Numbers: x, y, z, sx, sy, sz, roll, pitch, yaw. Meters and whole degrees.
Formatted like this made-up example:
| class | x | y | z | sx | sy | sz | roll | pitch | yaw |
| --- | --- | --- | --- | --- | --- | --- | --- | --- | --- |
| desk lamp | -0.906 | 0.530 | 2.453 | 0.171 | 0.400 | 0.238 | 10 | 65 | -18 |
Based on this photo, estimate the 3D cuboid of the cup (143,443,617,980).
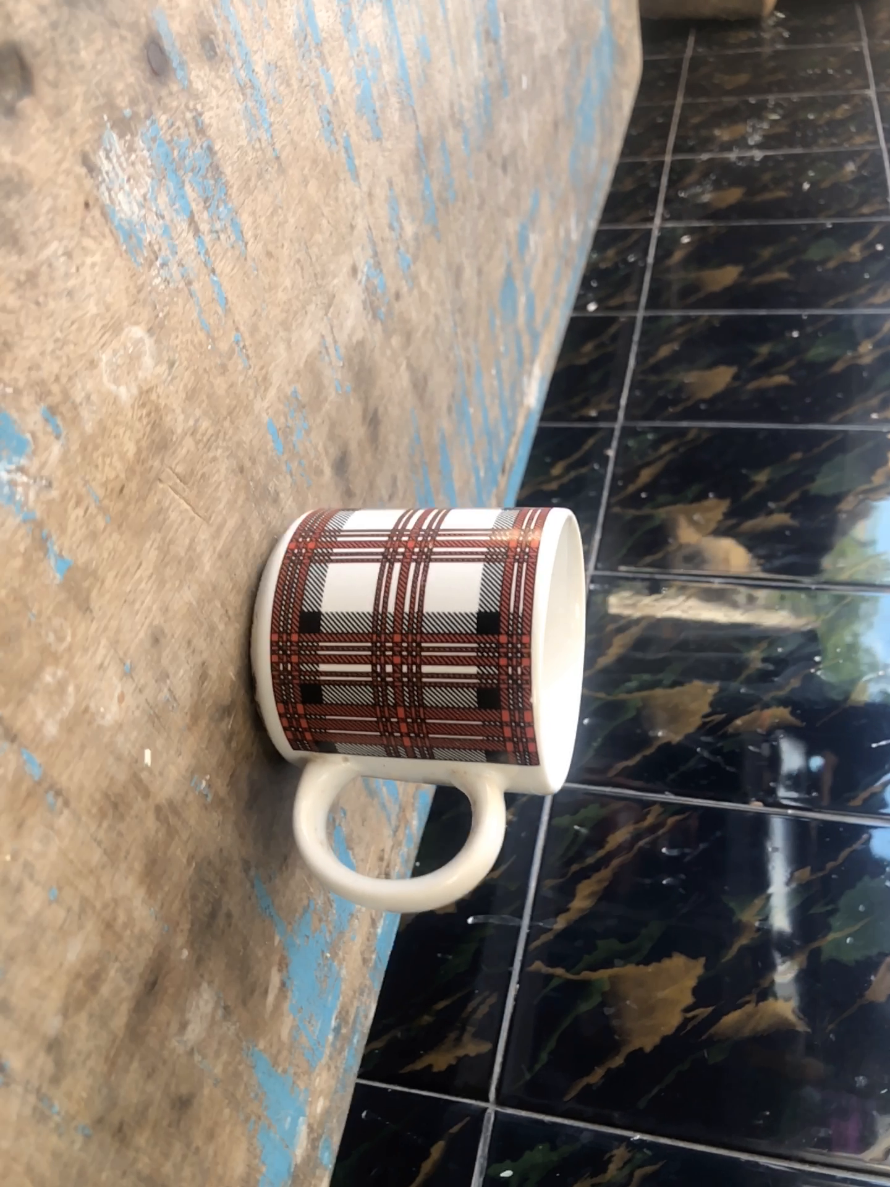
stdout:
| class | x | y | z | sx | sy | sz | roll | pitch | yaw |
| --- | --- | --- | --- | --- | --- | --- | --- | --- | --- |
| cup | -0.005 | 0.023 | 0.244 | 0.060 | 0.080 | 0.110 | 75 | 23 | -49 |
